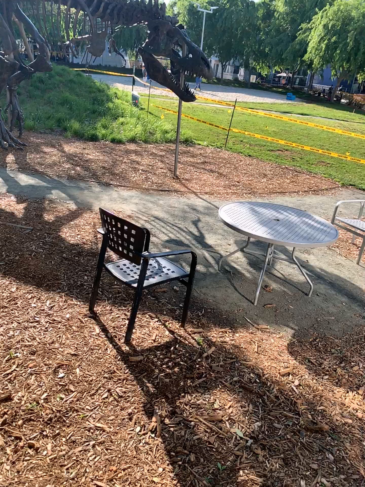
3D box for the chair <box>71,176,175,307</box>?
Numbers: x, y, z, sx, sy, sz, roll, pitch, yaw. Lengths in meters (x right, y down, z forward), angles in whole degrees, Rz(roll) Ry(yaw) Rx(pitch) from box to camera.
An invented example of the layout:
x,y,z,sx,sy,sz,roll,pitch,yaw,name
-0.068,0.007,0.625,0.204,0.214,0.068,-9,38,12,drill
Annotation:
x,y,z,sx,sy,sz,roll,pitch,yaw,name
-0.444,-0.046,2.689,0.501,0.716,0.522,-15,32,-37,chair
